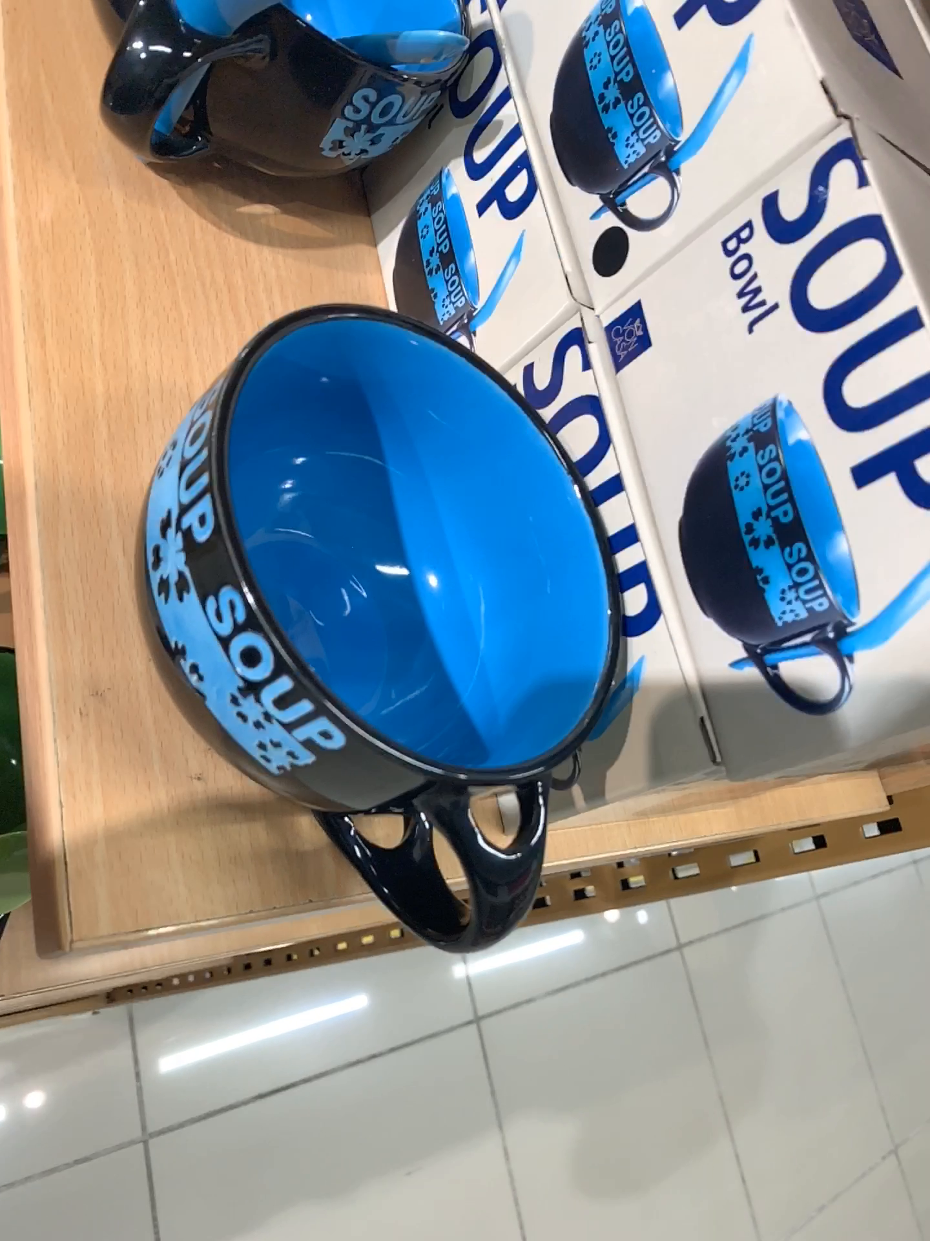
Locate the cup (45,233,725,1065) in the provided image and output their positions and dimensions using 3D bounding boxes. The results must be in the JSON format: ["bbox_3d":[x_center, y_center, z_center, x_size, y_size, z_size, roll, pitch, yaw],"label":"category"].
[{"bbox_3d":[-0.018,0.003,0.220,0.100,0.060,0.150,-8,75,-45],"label":"cup"}]
